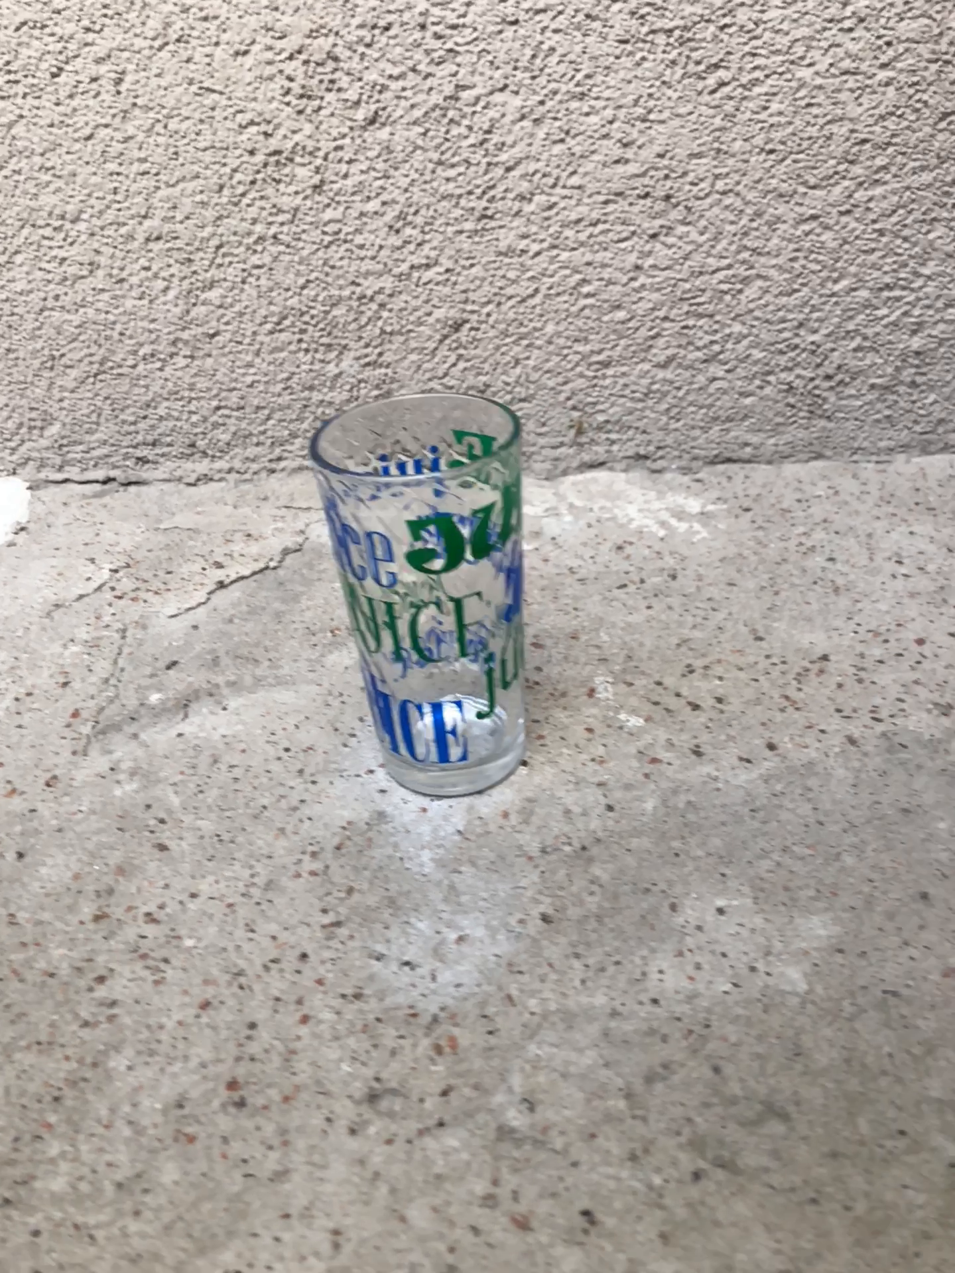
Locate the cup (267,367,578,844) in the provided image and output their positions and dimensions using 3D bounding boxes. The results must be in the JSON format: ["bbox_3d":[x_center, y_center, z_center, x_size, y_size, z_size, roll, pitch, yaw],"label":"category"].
[{"bbox_3d":[-0.014,-0.011,0.345,0.067,0.125,0.066,-3,33,2],"label":"cup"}]
